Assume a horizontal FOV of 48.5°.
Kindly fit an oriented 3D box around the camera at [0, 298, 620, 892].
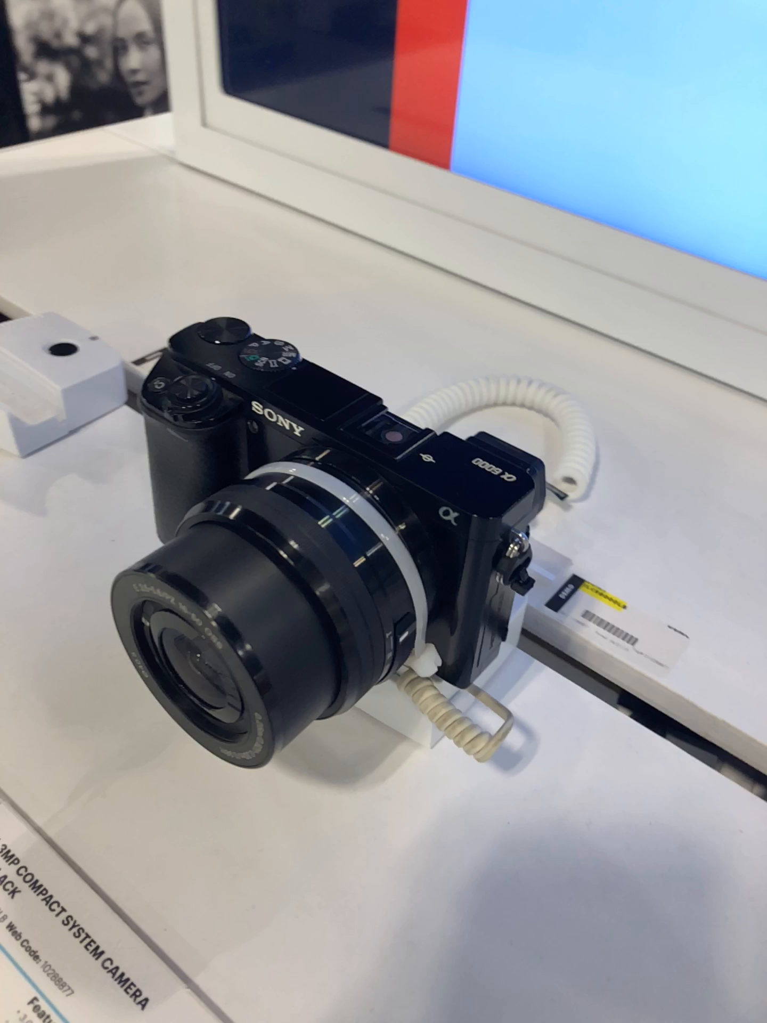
[{"bbox_3d":[-0.023,0.010,0.238,0.130,0.070,0.100,29,46,25],"label":"camera"}]
